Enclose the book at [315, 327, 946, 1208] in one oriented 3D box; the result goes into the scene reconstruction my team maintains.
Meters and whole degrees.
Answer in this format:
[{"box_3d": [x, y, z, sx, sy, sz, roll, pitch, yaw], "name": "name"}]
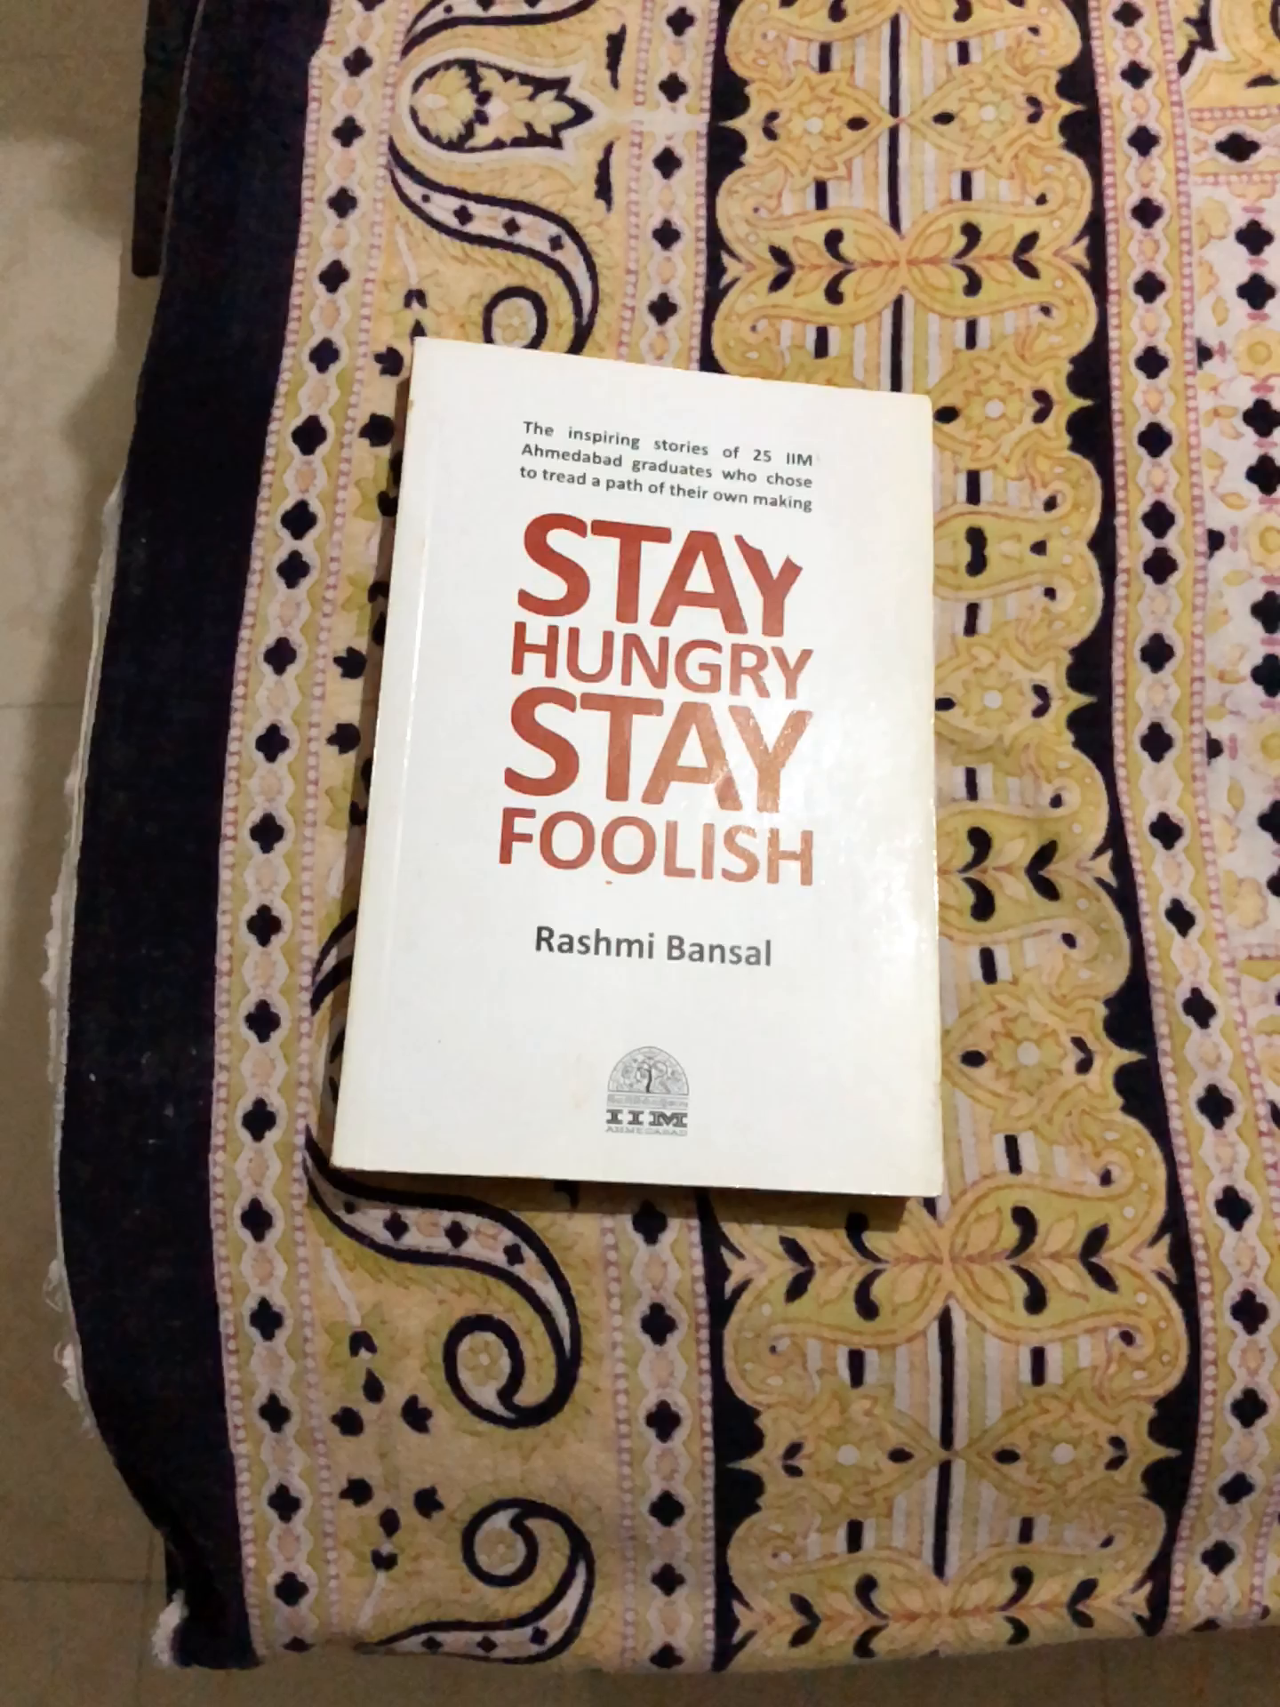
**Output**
[{"box_3d": [0.003, -0.022, 0.363, 0.140, 0.040, 0.210, 5, 76, -5], "name": "book"}]
